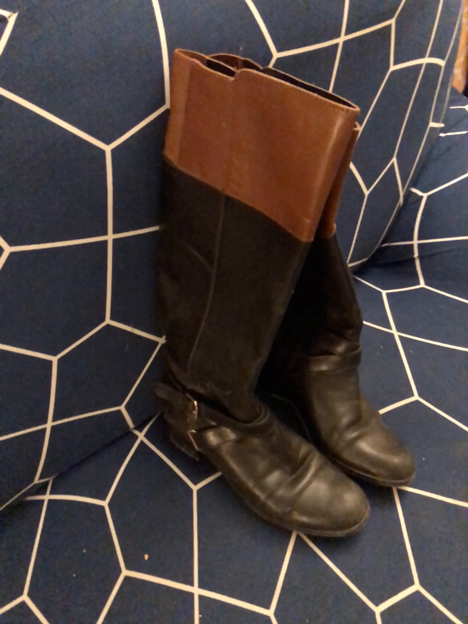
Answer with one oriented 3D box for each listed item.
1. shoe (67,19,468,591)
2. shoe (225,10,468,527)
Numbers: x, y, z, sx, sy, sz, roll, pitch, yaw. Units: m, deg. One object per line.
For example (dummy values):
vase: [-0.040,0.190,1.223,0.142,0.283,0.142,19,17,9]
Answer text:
shoe: [0.020,0.032,0.443,0.110,0.428,0.271,-34,57,-28]
shoe: [0.104,-0.007,0.453,0.100,0.378,0.251,-26,56,-21]
